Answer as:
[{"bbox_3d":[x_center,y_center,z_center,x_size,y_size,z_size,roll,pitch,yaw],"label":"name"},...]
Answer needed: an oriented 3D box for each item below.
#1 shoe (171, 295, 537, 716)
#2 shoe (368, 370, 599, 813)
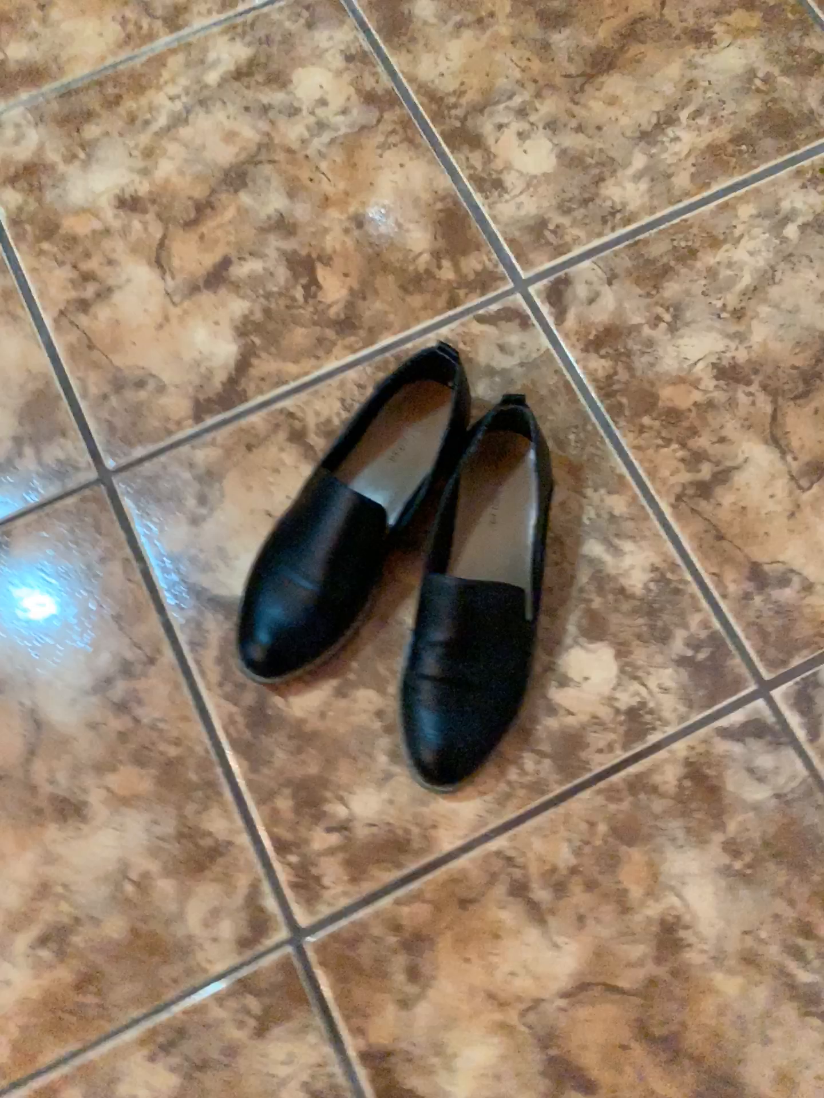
[{"bbox_3d":[-0.030,-0.029,0.533,0.086,0.070,0.256,33,77,10],"label":"shoe"},{"bbox_3d":[0.047,0.025,0.527,0.088,0.070,0.255,12,74,4],"label":"shoe"}]
